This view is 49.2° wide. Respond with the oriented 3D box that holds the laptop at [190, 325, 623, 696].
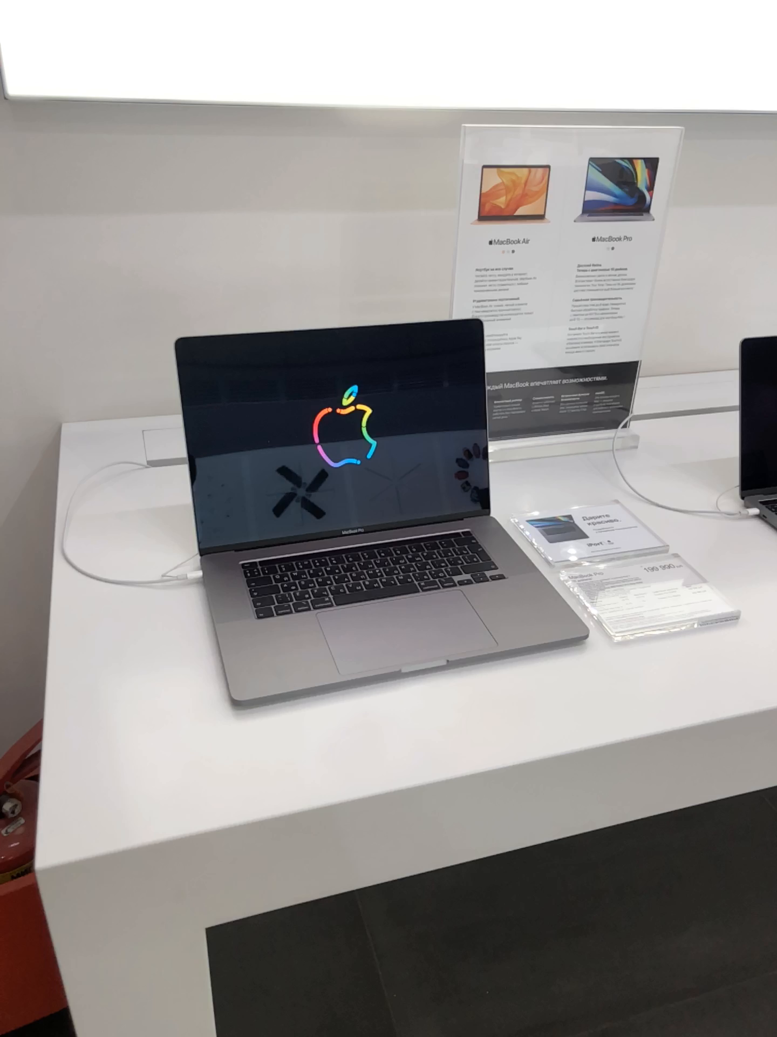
[{"bbox_3d":[-0.006,-0.035,0.862,0.328,0.209,0.311,-8,32,-17],"label":"laptop"}]
